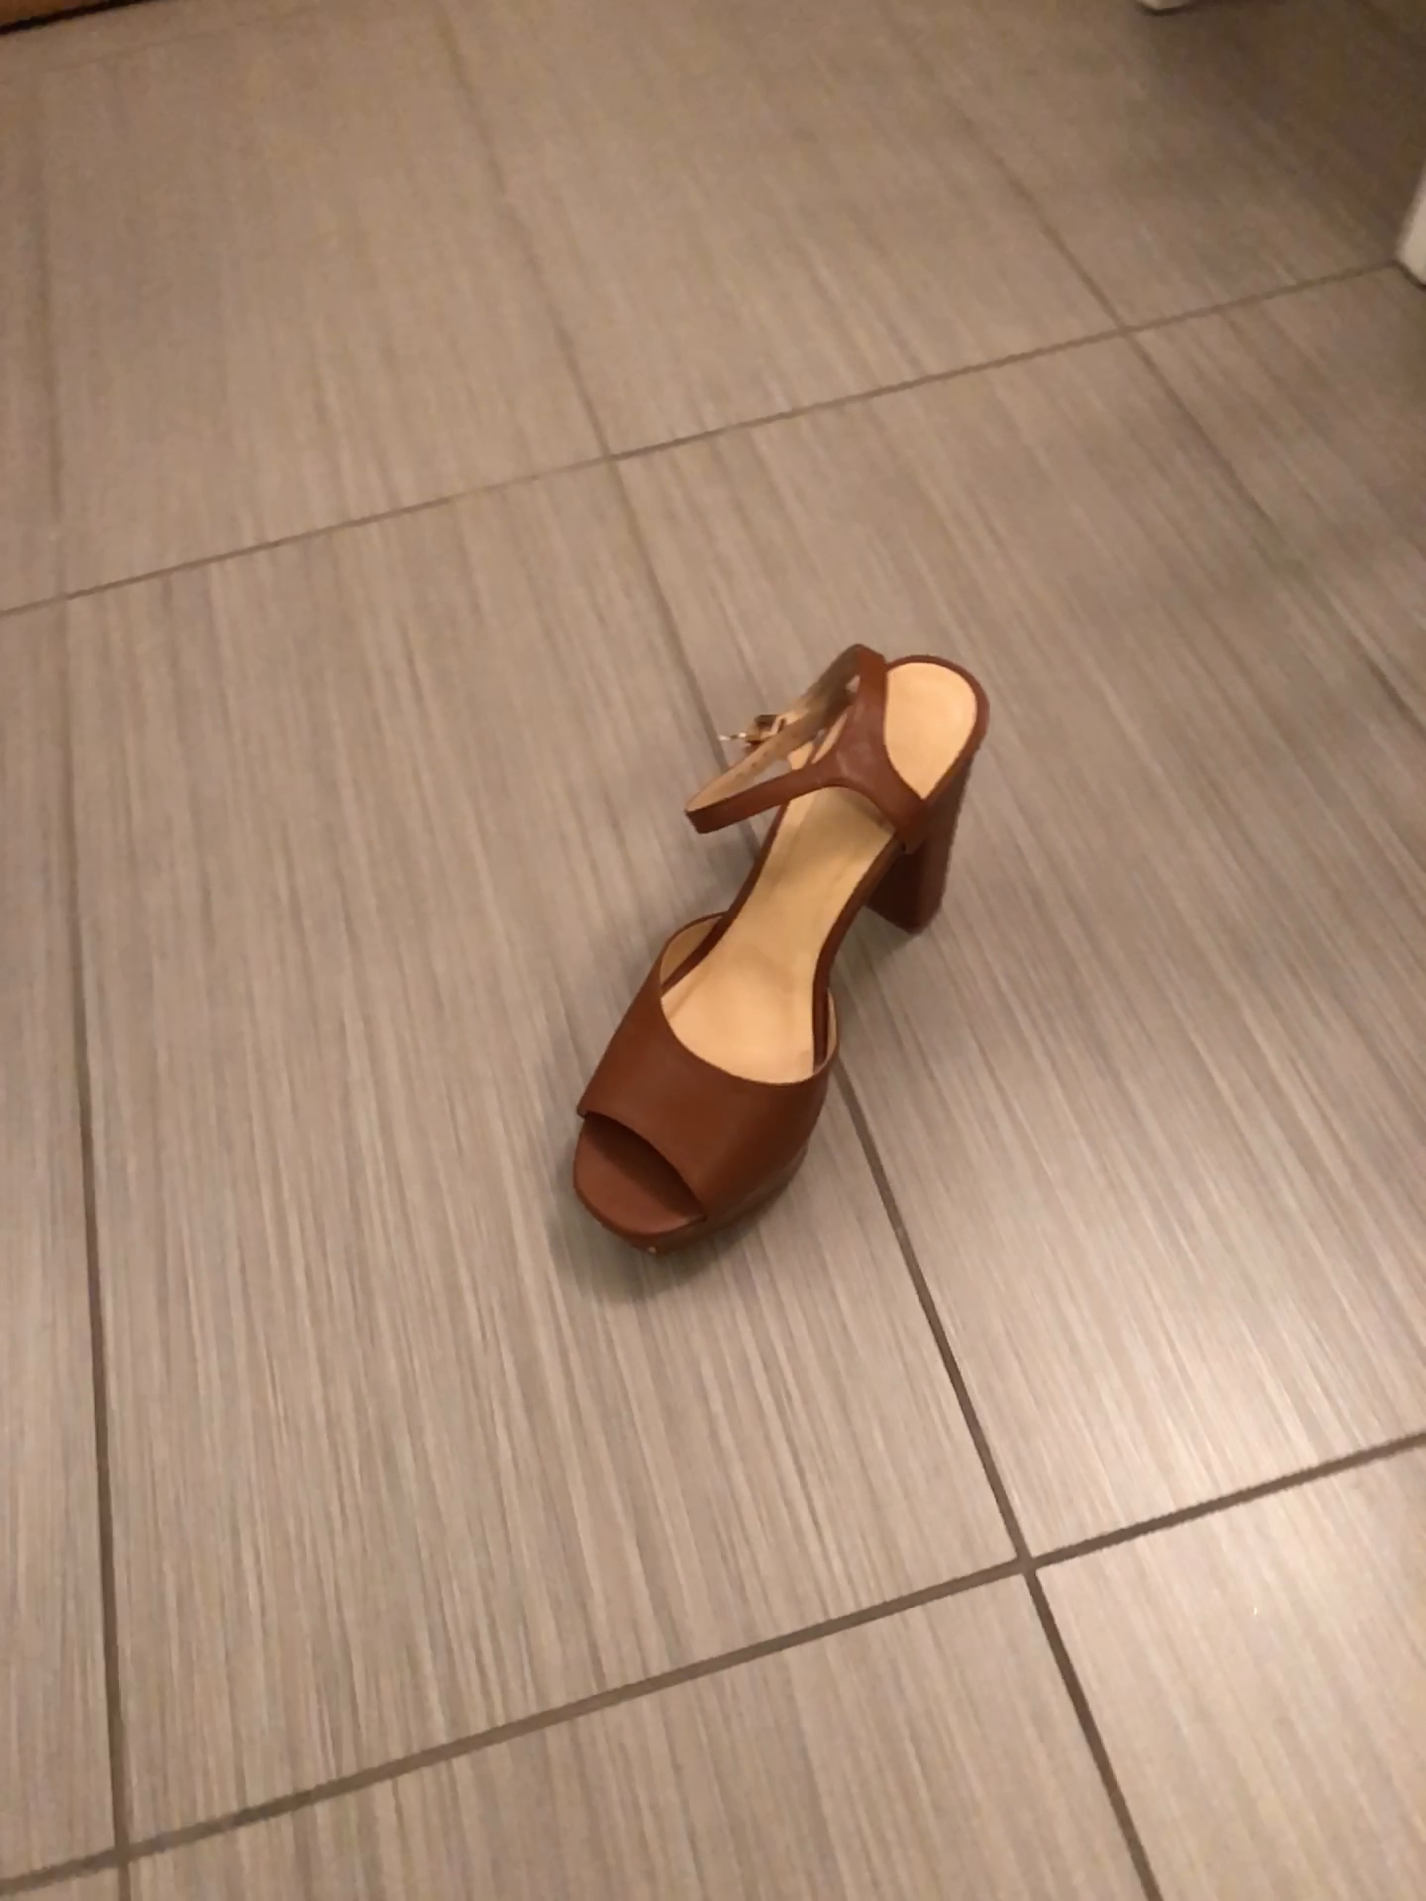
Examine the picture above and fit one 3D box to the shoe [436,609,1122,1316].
[{"bbox_3d":[0.032,0.000,0.592,0.110,0.090,0.240,37,72,27],"label":"shoe"}]
